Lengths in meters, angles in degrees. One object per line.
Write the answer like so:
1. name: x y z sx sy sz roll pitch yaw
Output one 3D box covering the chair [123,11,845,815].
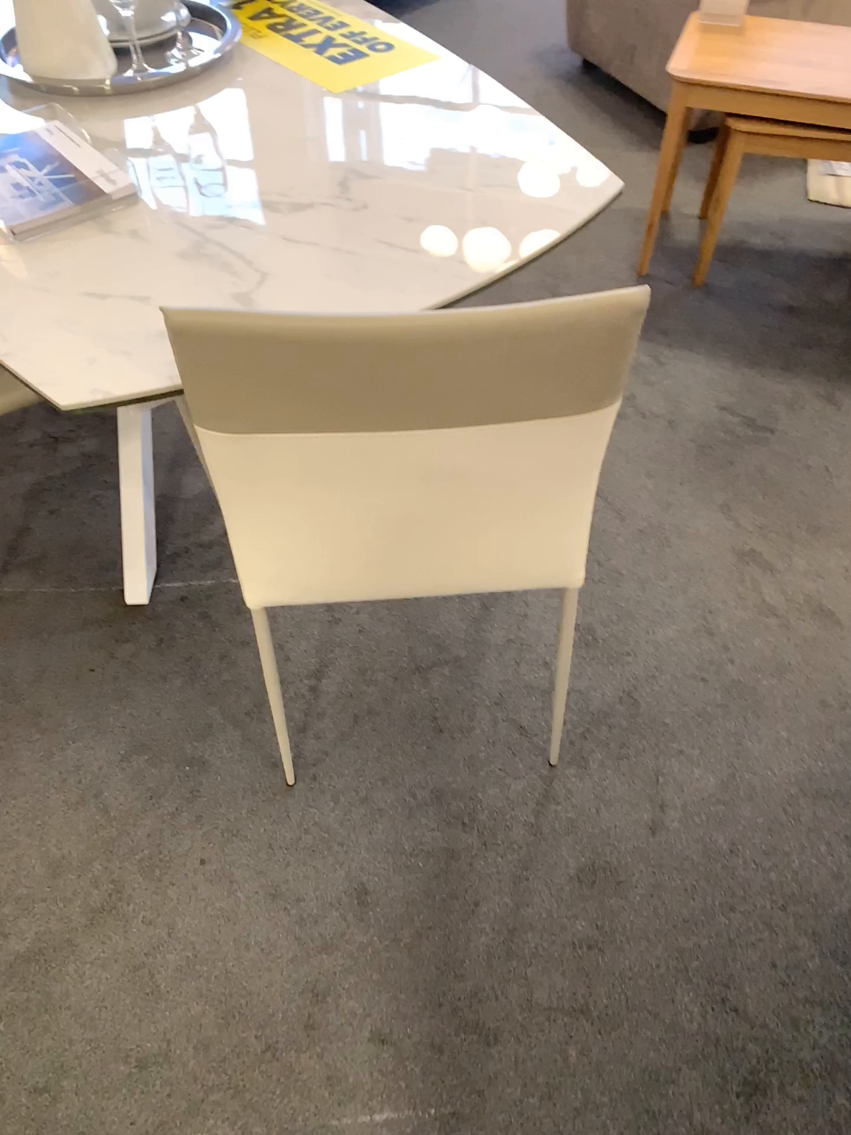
1. chair: 0.026 -0.152 1.136 0.532 0.823 0.586 -4 50 -3
